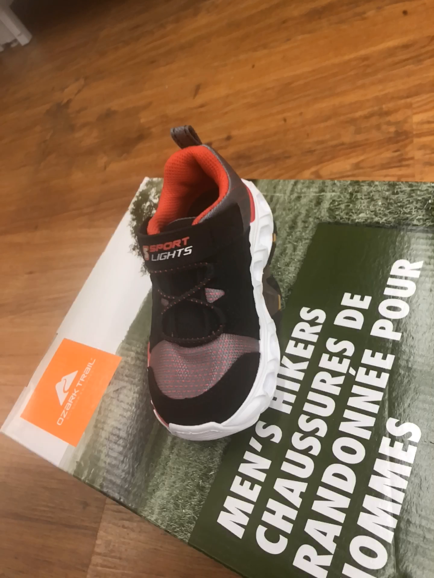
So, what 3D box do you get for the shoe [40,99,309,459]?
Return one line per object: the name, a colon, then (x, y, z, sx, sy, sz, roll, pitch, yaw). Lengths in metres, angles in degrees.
shoe: (-0.009, -0.003, 0.277, 0.090, 0.090, 0.170, -8, 55, 27)
